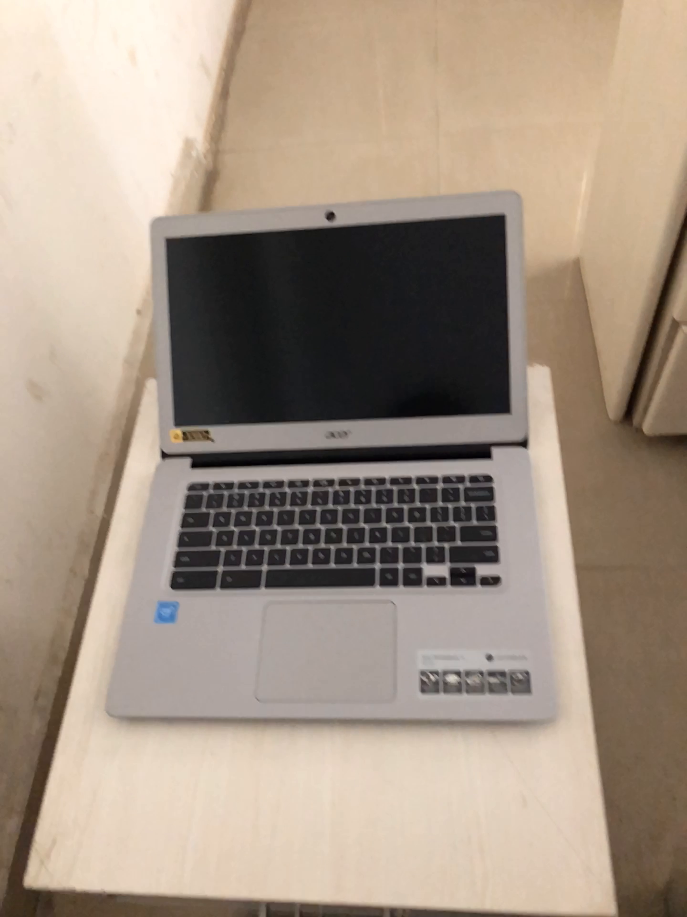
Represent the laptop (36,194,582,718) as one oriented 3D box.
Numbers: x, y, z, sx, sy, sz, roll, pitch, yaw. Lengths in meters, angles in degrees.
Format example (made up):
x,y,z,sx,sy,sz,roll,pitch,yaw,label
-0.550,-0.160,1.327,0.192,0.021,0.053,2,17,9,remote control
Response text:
x,y,z,sx,sy,sz,roll,pitch,yaw,label
-0.012,-0.018,0.614,0.332,0.126,0.409,-2,57,7,laptop
